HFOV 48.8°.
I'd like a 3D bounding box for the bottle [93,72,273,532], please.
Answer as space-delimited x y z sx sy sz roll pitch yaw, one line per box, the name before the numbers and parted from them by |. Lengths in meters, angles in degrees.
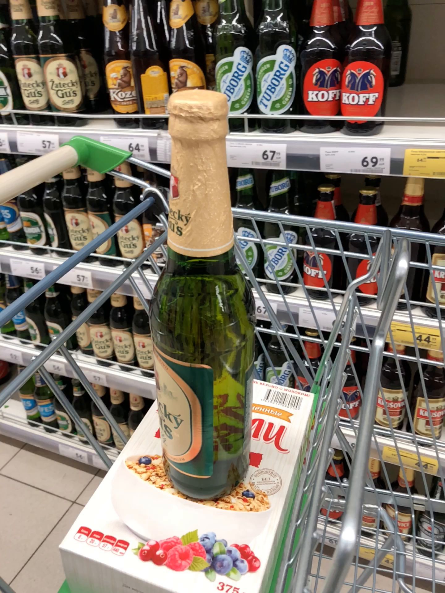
bottle | -0.015 0.018 0.298 0.070 0.268 0.080 -8 31 -6
